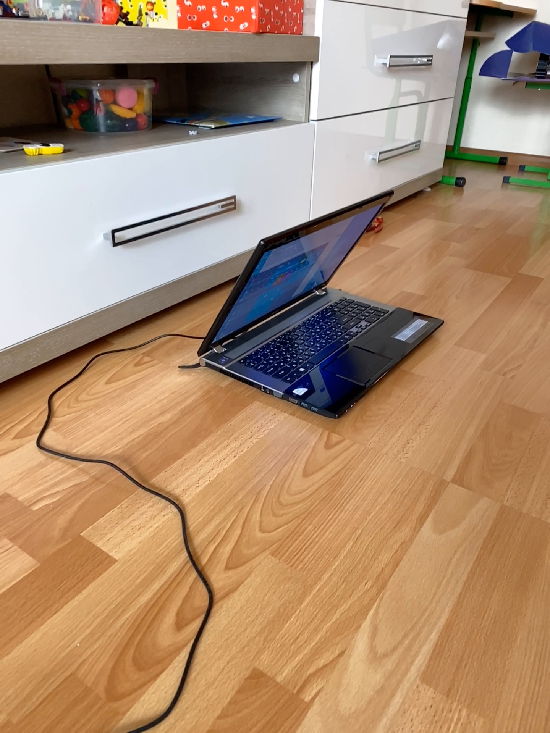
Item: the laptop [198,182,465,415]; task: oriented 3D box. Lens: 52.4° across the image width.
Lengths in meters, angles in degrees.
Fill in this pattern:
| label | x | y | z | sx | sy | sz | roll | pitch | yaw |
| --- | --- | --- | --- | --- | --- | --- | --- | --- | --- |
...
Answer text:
| label | x | y | z | sx | sy | sz | roll | pitch | yaw |
| --- | --- | --- | --- | --- | --- | --- | --- | --- | --- |
| laptop | 0.108 | -0.153 | 0.978 | 0.269 | 0.233 | 0.413 | 21 | 34 | 31 |
